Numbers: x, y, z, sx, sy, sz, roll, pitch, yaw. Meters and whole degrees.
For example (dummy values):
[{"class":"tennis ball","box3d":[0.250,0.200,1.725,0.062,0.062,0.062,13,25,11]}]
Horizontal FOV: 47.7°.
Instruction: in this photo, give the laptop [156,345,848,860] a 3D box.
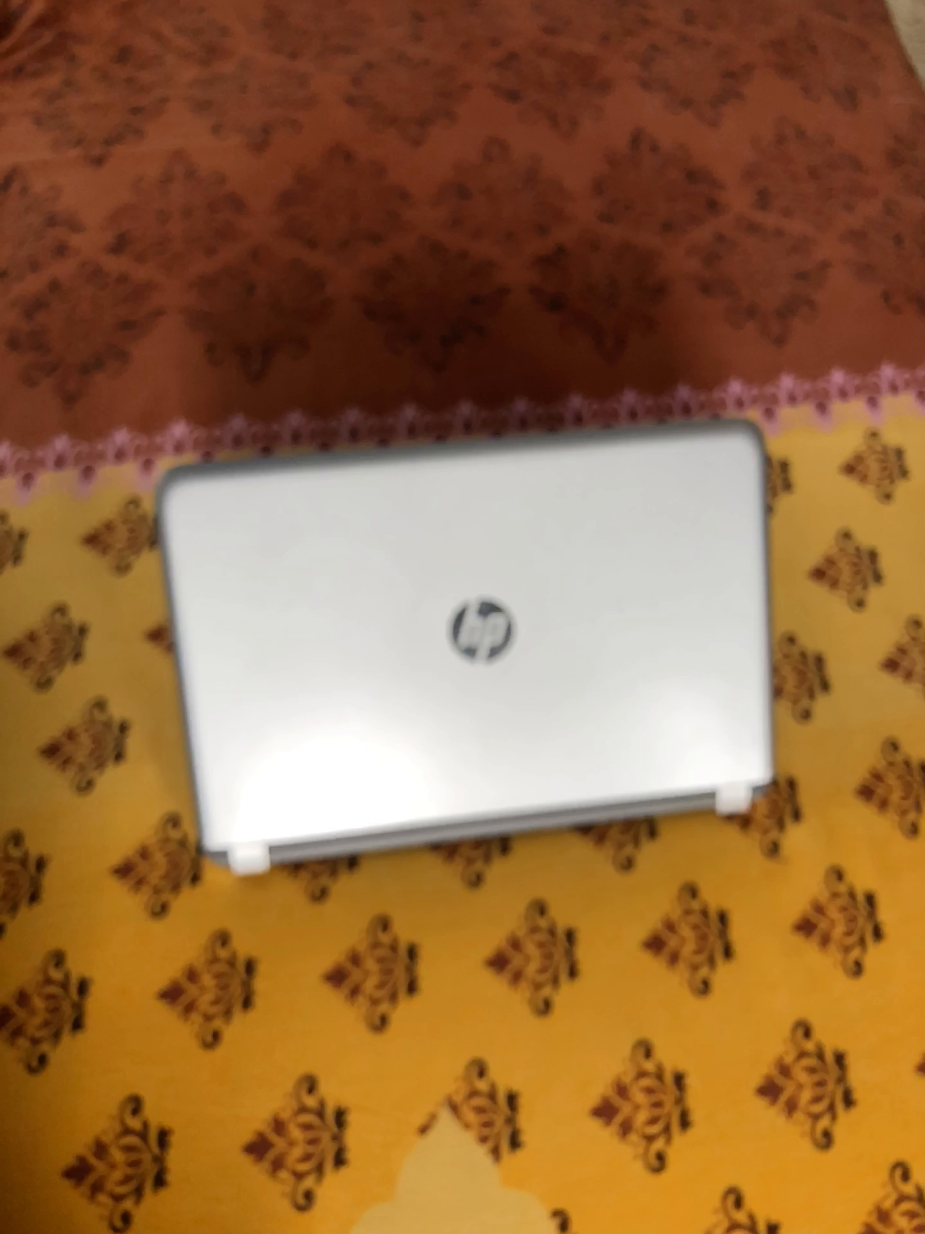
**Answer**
[{"class":"laptop","box3d":[0.009,-0.011,0.680,0.372,0.155,0.249,-6,62,-5]}]
